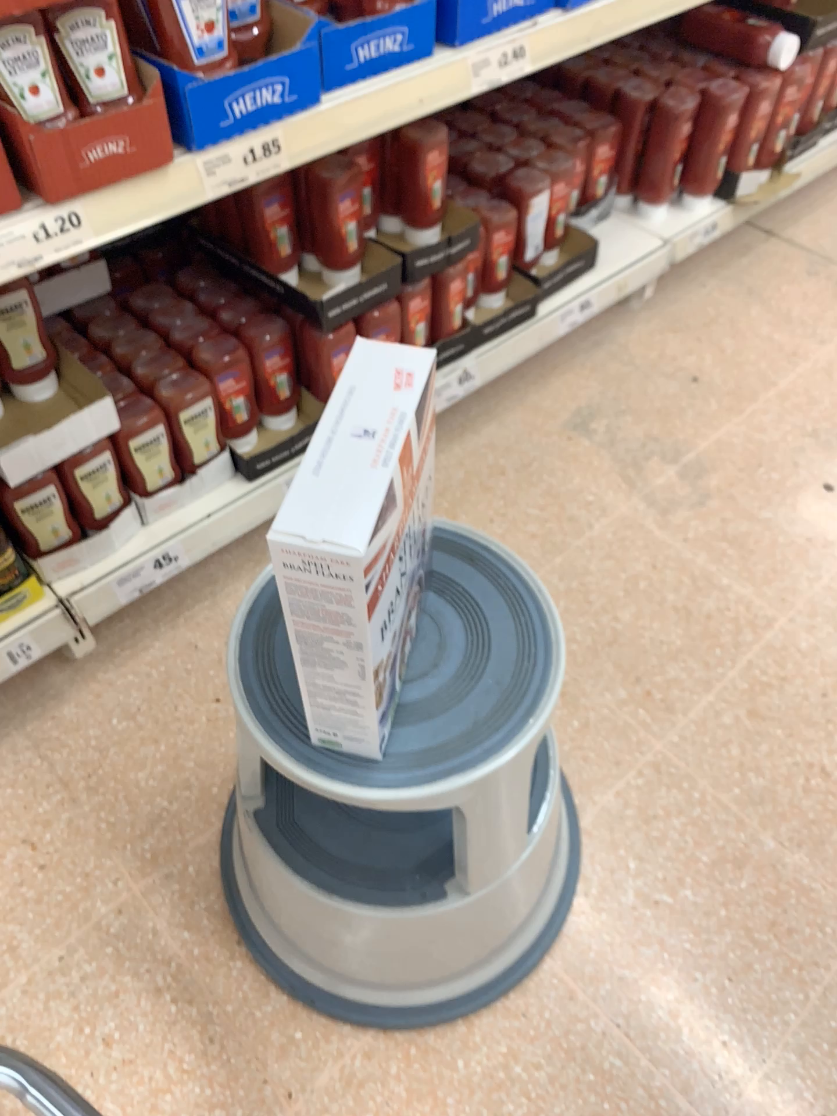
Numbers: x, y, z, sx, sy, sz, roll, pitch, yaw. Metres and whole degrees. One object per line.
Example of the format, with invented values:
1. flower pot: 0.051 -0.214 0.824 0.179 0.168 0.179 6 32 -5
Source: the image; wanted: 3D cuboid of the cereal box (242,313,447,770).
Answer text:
1. cereal box: -0.038 -0.004 0.621 0.070 0.258 0.202 10 51 8
